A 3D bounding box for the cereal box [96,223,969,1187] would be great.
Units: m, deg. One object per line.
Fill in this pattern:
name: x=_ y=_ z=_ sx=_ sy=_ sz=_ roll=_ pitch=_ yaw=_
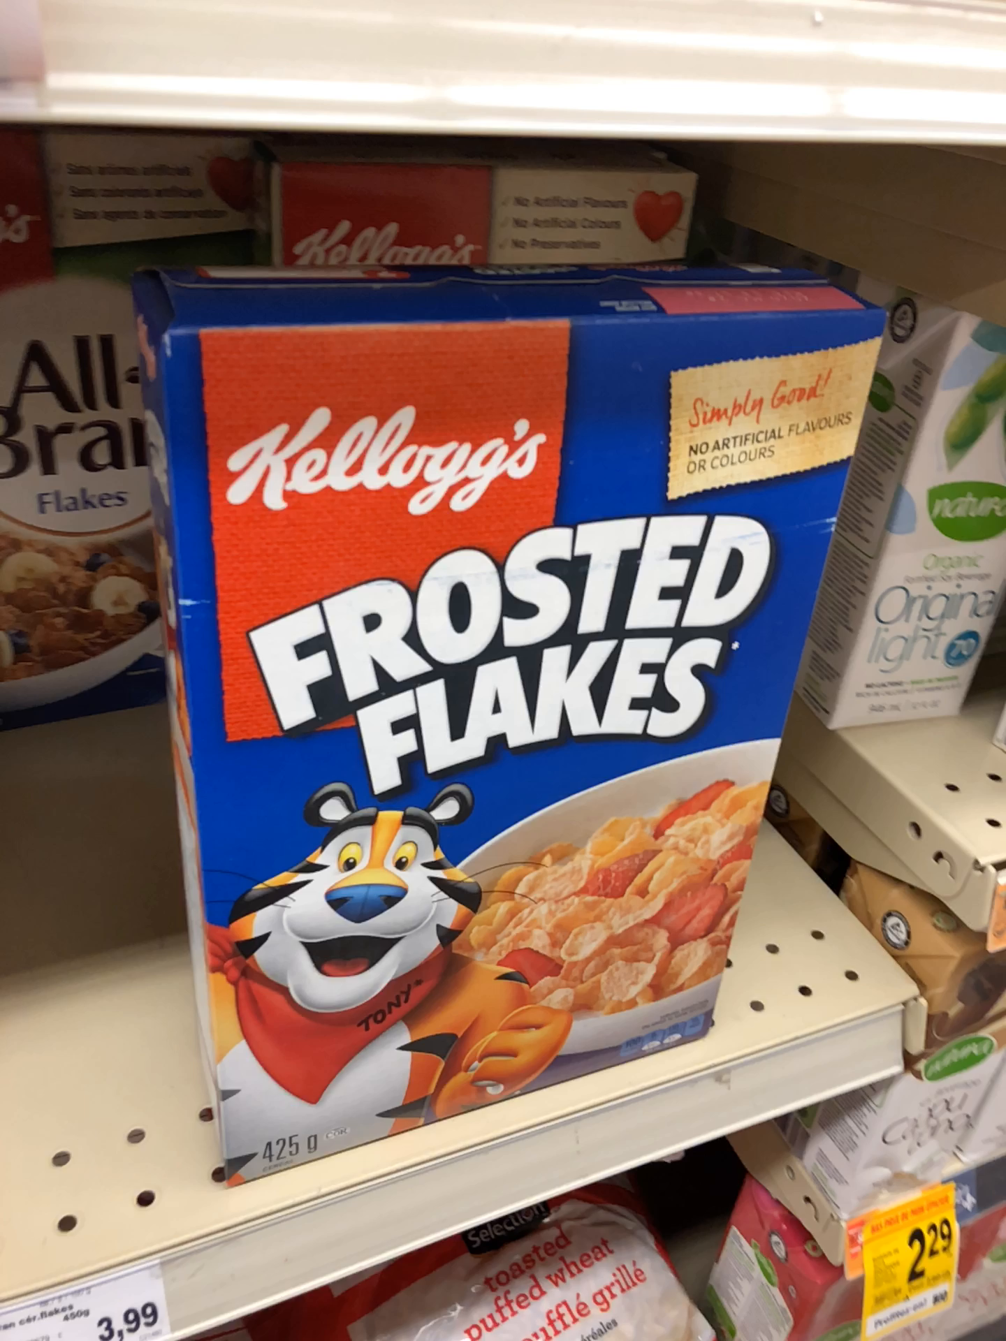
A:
cereal box: x=0.004 y=0.014 z=0.344 sx=0.210 sy=0.278 sz=0.060 roll=-9 pitch=33 yaw=-21
